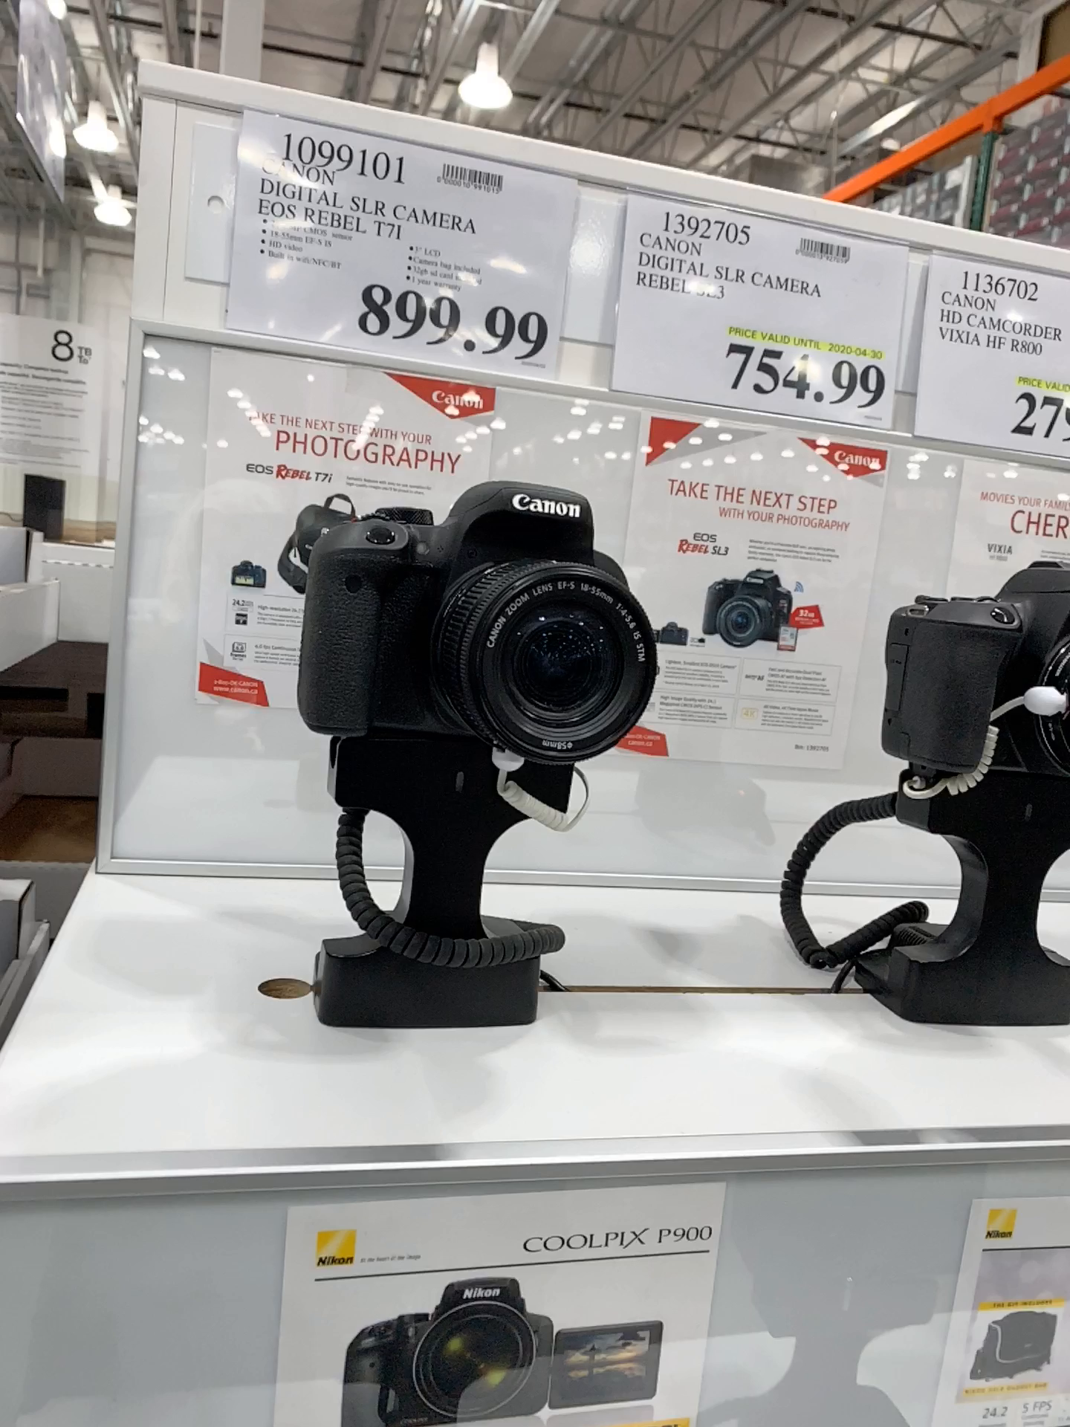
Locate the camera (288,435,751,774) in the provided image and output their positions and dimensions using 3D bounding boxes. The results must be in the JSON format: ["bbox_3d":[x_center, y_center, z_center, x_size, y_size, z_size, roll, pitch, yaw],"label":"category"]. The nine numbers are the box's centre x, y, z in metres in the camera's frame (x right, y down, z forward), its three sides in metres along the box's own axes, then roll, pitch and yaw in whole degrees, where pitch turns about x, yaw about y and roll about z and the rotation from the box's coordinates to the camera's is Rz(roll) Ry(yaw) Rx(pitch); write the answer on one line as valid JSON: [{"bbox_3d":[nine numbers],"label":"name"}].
[{"bbox_3d":[-0.015,-0.040,0.410,0.132,0.096,0.129,3,7,-18],"label":"camera"}]
